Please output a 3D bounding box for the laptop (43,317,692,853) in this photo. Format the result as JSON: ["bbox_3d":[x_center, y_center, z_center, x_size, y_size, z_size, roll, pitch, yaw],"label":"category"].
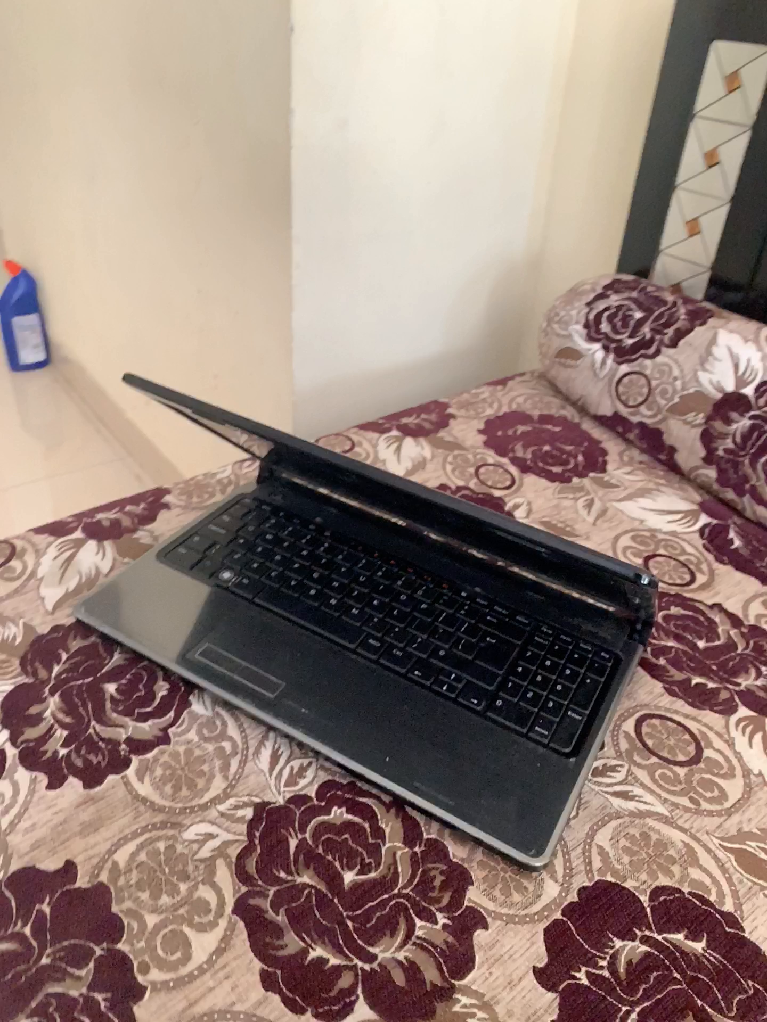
[{"bbox_3d":[-0.011,0.014,0.555,0.364,0.154,0.221,21,38,23],"label":"laptop"}]
